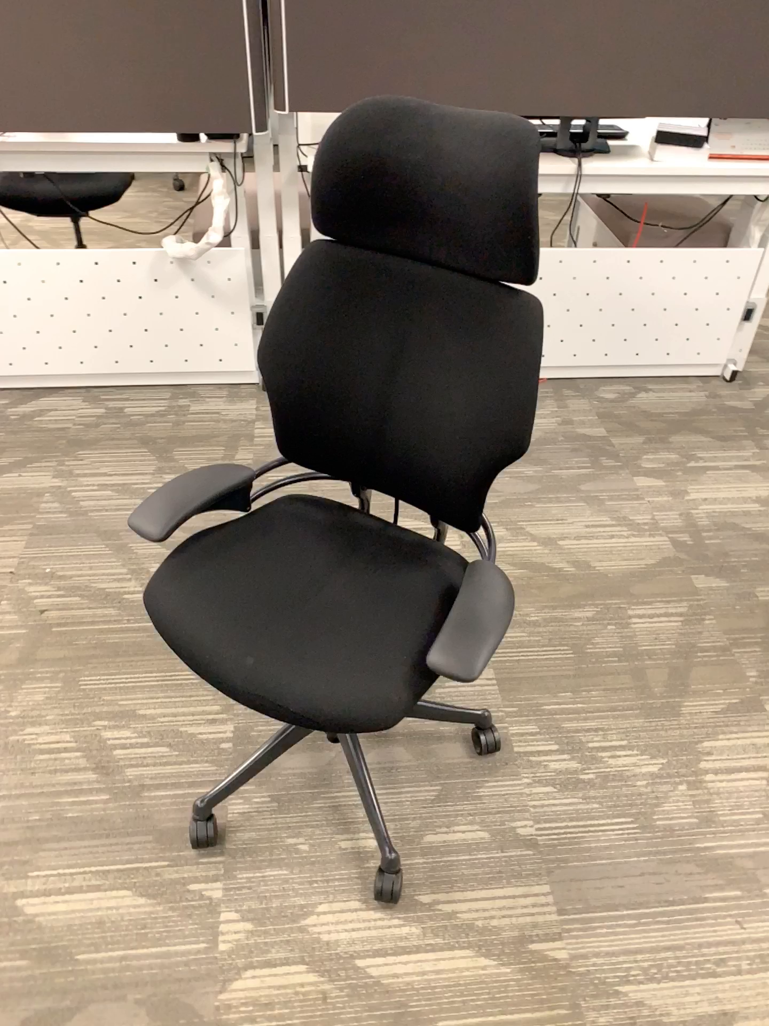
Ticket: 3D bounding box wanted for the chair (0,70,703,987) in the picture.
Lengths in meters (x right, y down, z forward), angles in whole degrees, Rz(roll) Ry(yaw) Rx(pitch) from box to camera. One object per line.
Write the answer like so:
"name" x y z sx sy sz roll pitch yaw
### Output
"chair" -0.068 -0.017 1.277 0.692 1.090 0.775 21 41 23
